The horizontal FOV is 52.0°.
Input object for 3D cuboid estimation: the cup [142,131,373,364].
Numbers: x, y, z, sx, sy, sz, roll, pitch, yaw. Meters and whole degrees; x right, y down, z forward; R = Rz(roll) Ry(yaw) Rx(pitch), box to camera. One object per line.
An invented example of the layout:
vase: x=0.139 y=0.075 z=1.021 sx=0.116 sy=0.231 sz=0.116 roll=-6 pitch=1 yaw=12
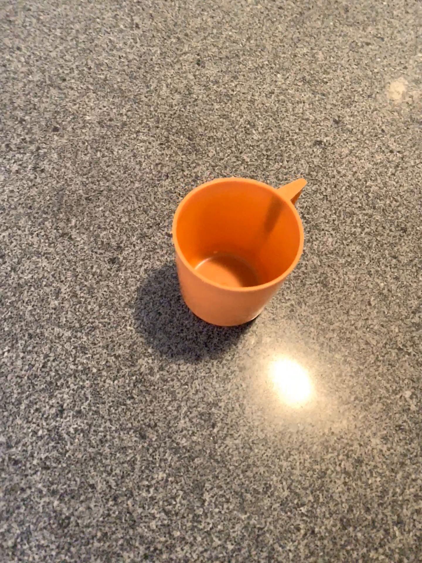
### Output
cup: x=0.025 y=-0.020 z=0.292 sx=0.110 sy=0.090 sz=0.080 roll=-33 pitch=71 yaw=-20
